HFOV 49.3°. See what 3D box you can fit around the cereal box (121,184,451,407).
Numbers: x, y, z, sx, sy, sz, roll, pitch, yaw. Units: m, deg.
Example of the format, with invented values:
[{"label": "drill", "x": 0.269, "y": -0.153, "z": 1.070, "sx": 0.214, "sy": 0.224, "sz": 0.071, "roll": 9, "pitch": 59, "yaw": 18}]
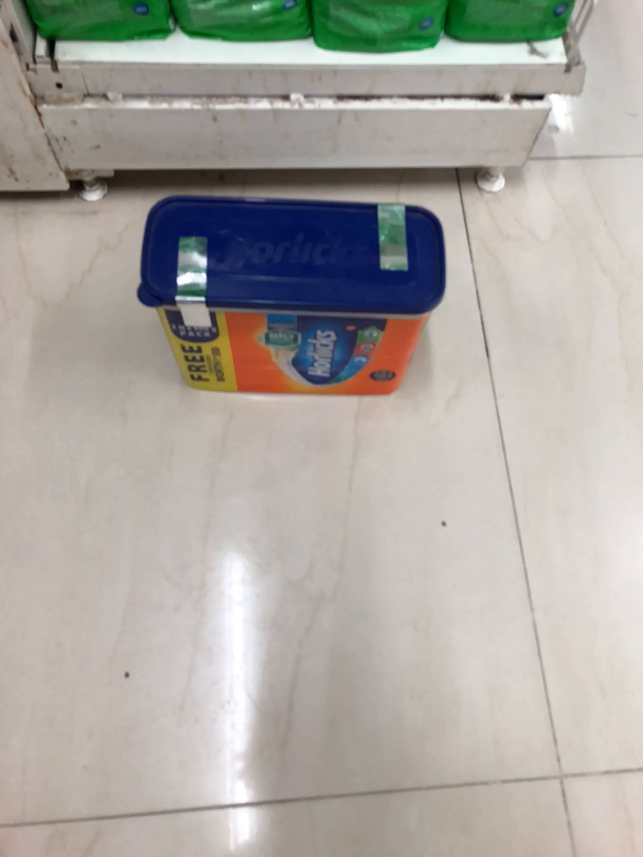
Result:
[{"label": "cereal box", "x": -0.026, "y": -0.097, "z": 0.561, "sx": 0.220, "sy": 0.160, "sz": 0.100, "roll": 1, "pitch": 68, "yaw": -3}]
